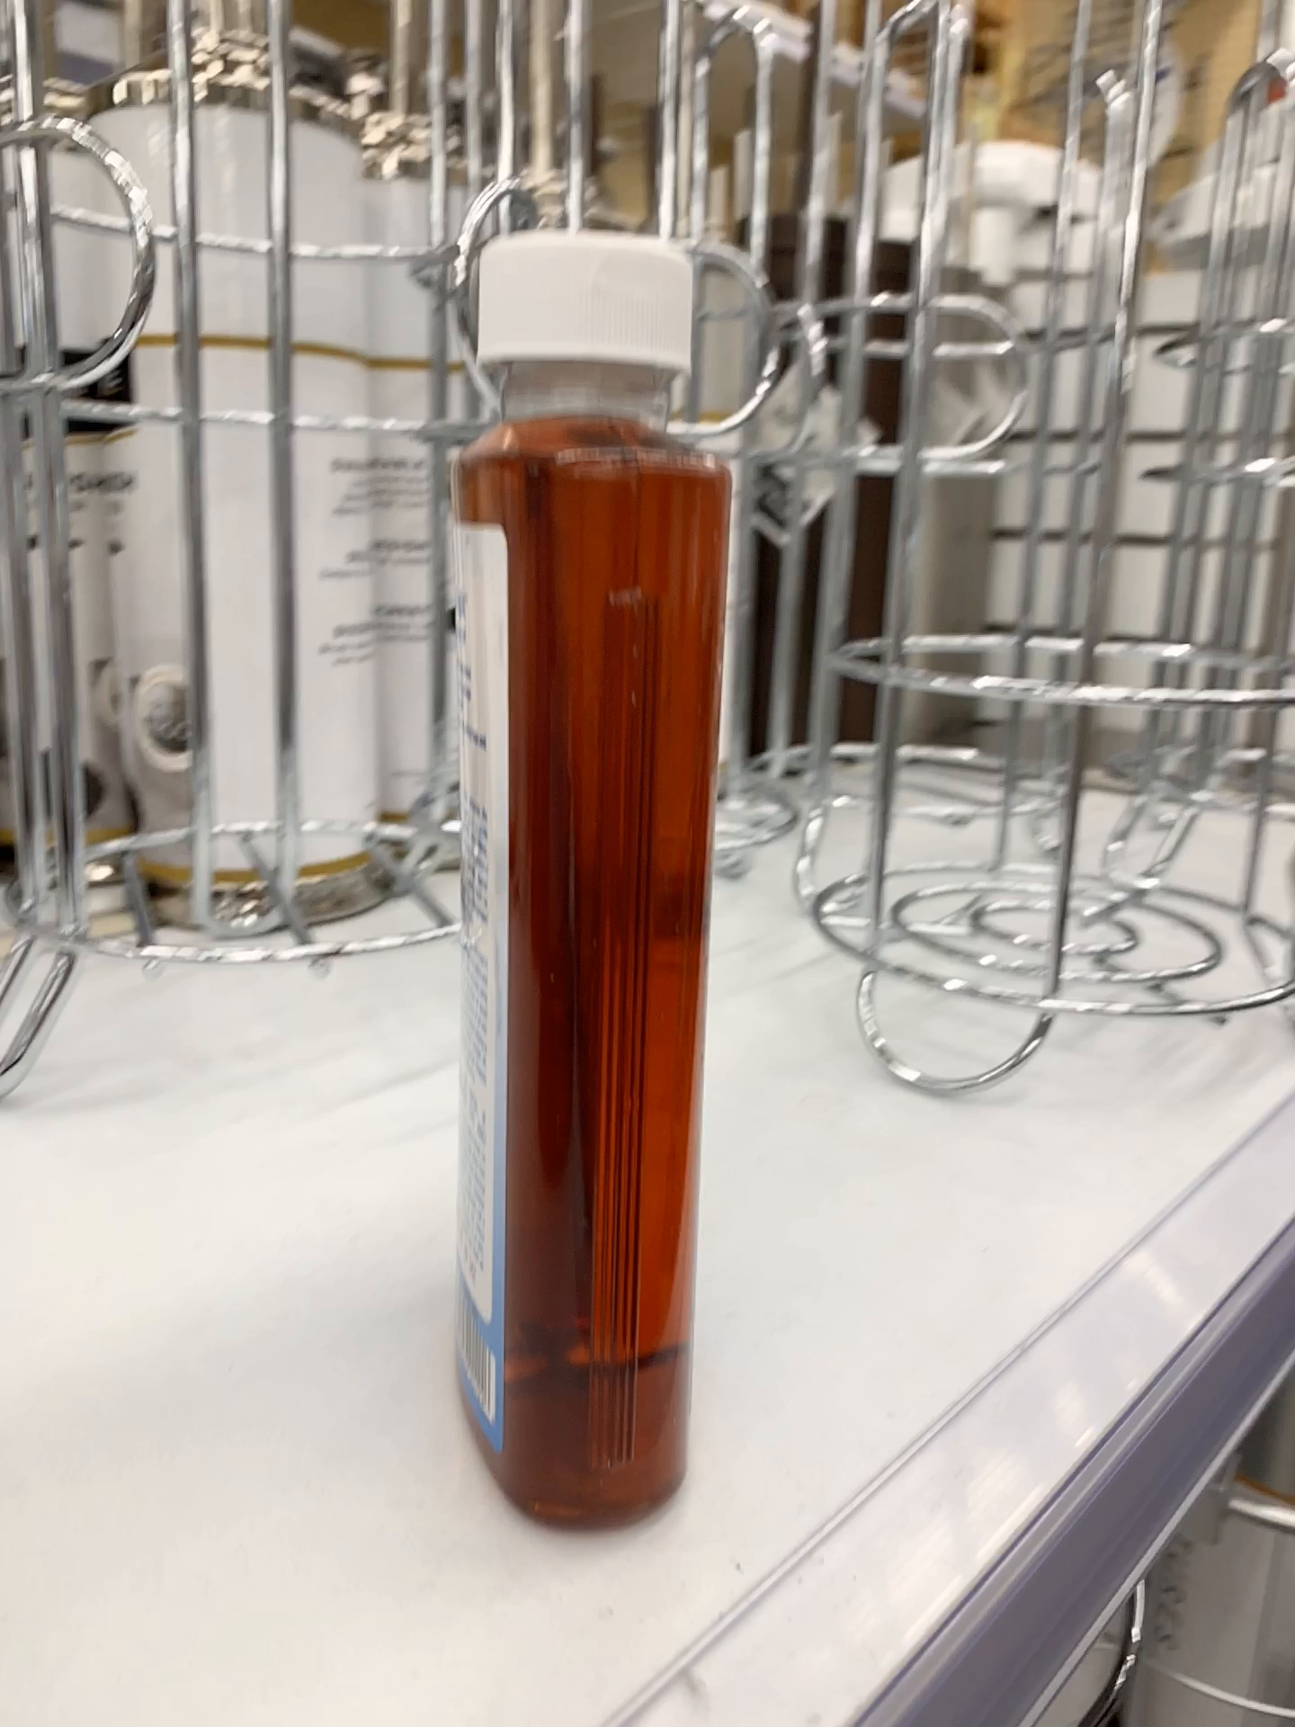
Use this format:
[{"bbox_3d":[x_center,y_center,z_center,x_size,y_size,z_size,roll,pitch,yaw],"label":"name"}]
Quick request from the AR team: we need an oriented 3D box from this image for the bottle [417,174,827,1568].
[{"bbox_3d":[-0.013,0.002,0.240,0.045,0.207,0.088,-2,15,-15],"label":"bottle"}]
